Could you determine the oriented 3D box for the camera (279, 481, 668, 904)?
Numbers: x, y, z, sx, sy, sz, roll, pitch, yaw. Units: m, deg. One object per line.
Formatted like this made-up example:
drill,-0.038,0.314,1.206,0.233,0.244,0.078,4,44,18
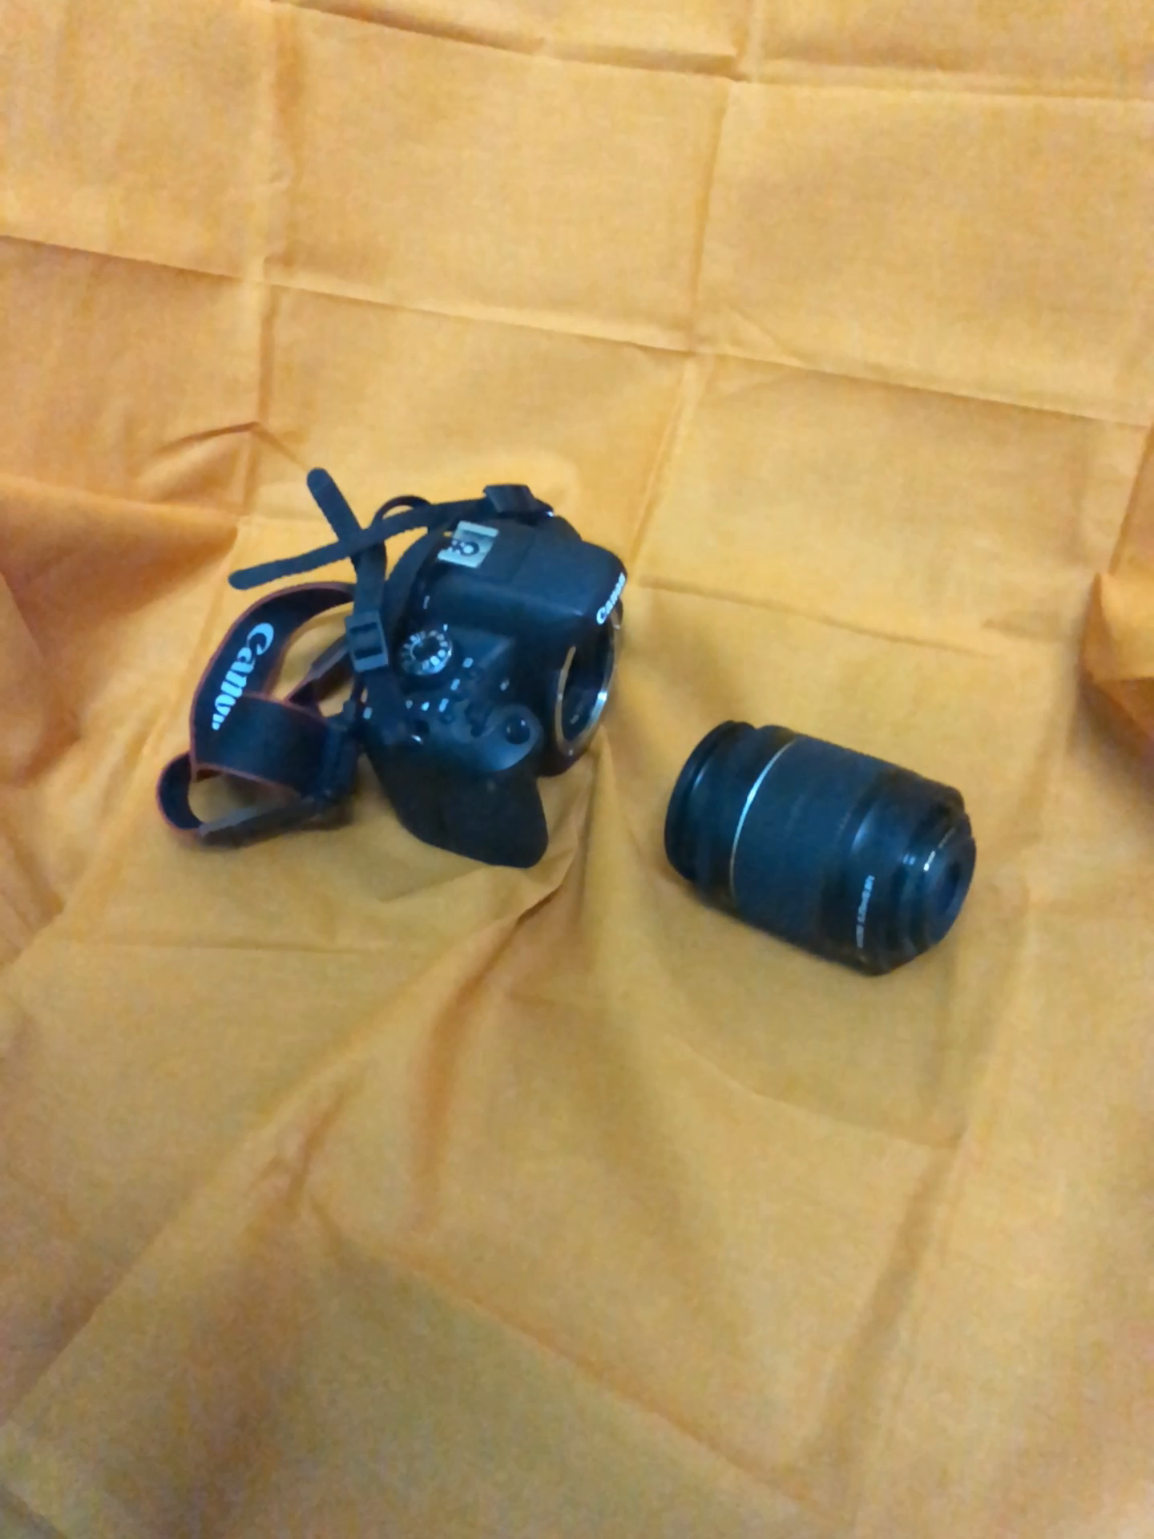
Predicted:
camera,-0.032,-0.034,0.493,0.092,0.071,0.134,16,55,18
